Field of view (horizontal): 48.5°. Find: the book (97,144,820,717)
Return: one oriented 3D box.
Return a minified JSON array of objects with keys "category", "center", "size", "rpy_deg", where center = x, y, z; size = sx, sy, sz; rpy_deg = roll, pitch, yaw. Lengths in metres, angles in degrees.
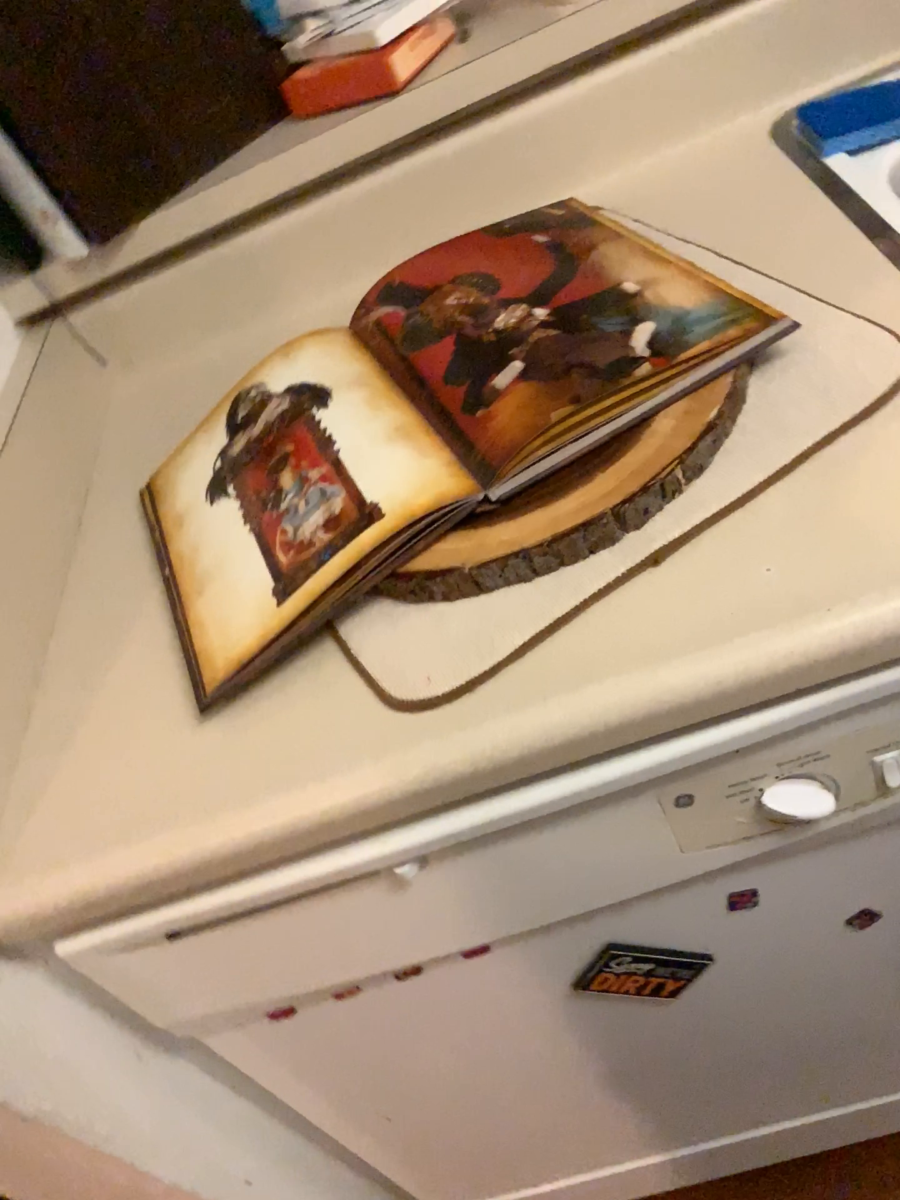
[{"category":"book","center":[-0.033,-0.160,0.744],"size":[0.470,0.040,0.340],"rpy_deg":[-33,41,-1]}]
